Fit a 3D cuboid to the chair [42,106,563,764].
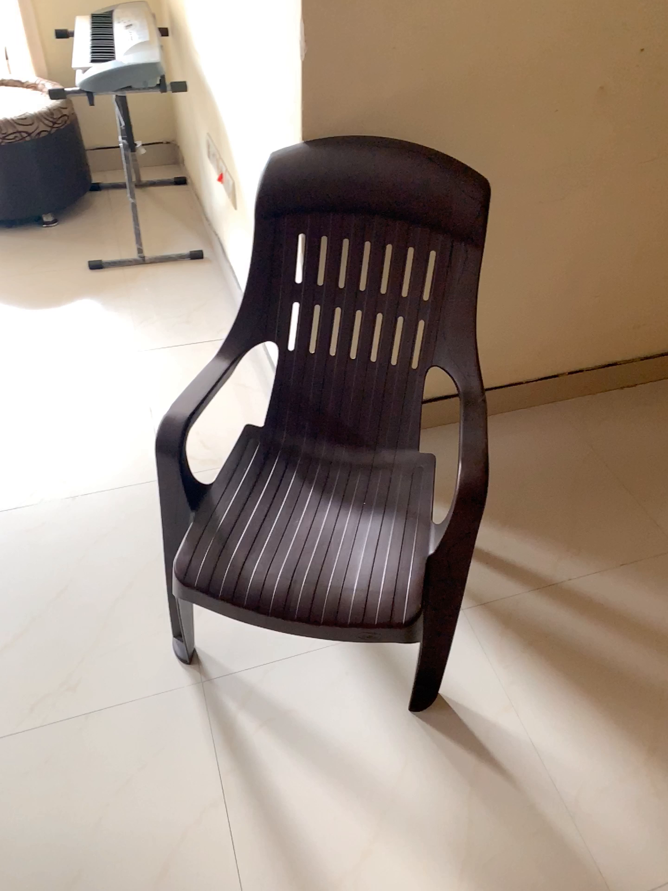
[{"bbox_3d":[0.007,0.011,1.346,0.600,1.031,0.666,10,43,8],"label":"chair"}]
